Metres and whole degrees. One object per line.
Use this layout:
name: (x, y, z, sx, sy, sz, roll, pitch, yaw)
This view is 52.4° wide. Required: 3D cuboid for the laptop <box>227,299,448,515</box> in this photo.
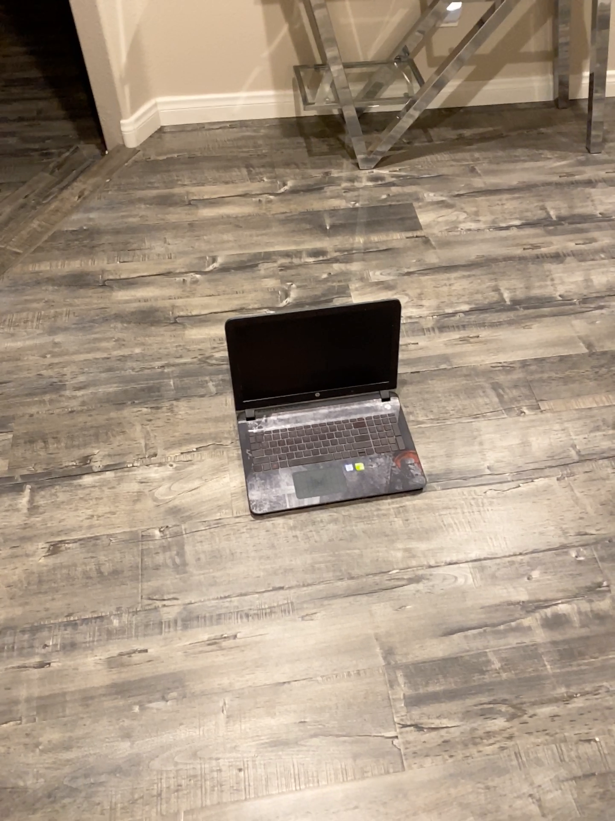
laptop: (0.043, -0.012, 1.303, 0.371, 0.225, 0.328, -8, 54, -7)
